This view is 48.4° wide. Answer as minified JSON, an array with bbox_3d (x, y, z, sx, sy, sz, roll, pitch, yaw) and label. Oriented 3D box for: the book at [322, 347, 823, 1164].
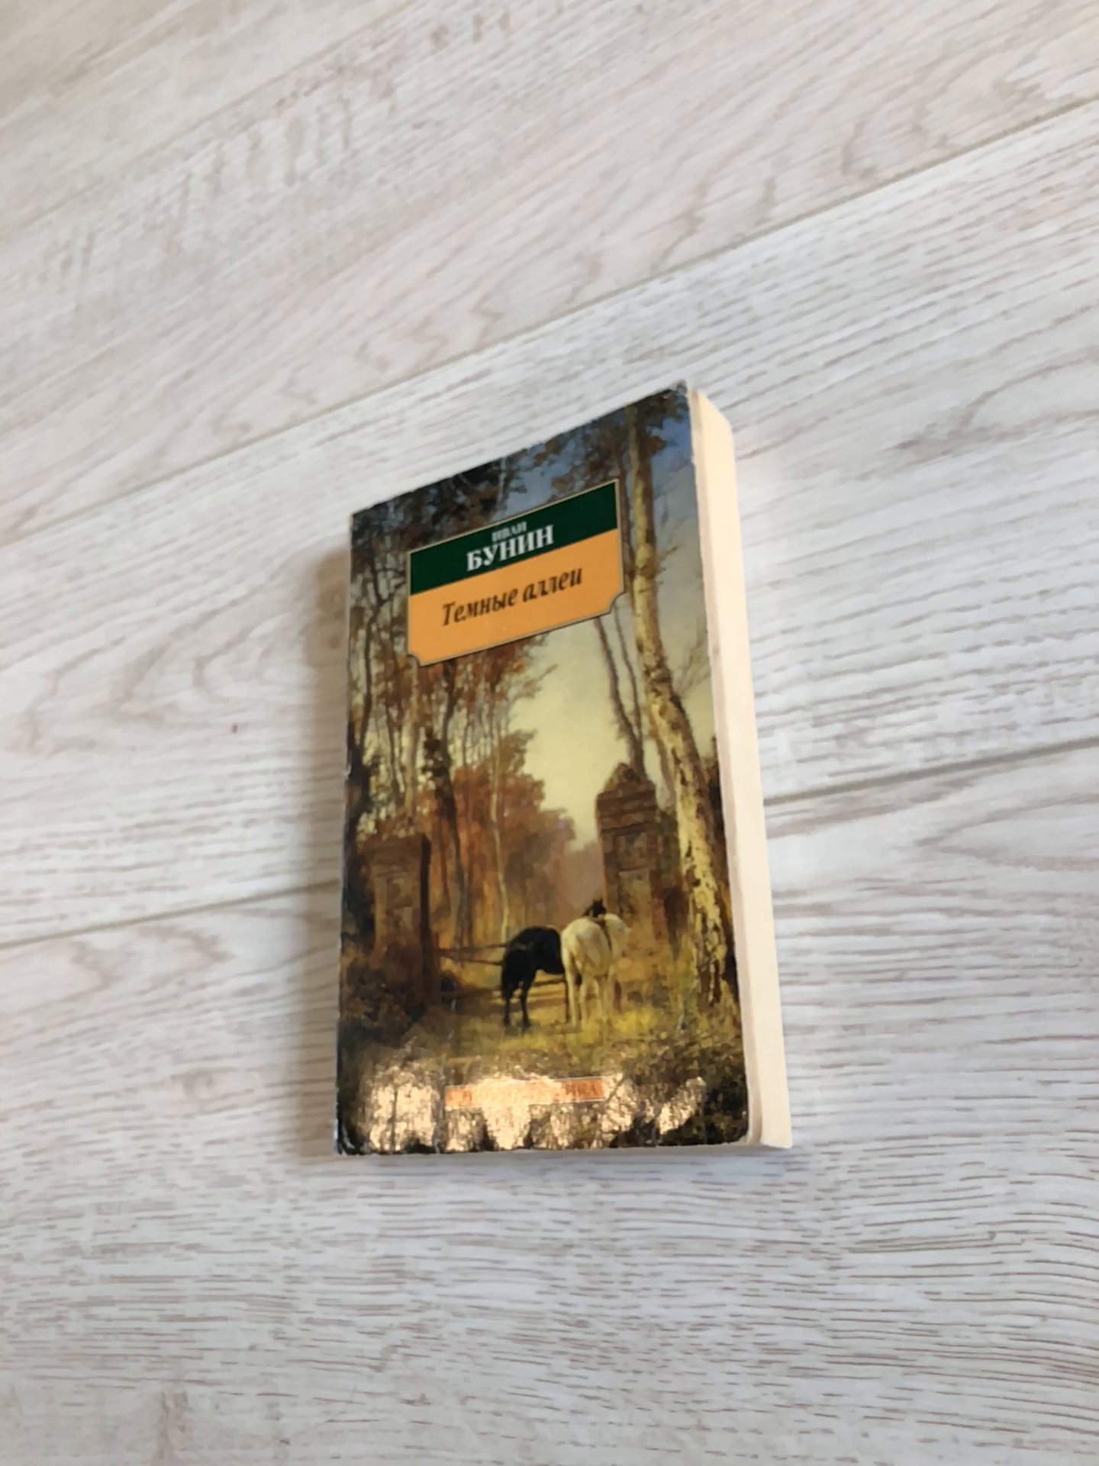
[{"bbox_3d":[-0.002,0.008,0.294,0.112,0.024,0.177,-13,68,30],"label":"book"}]
